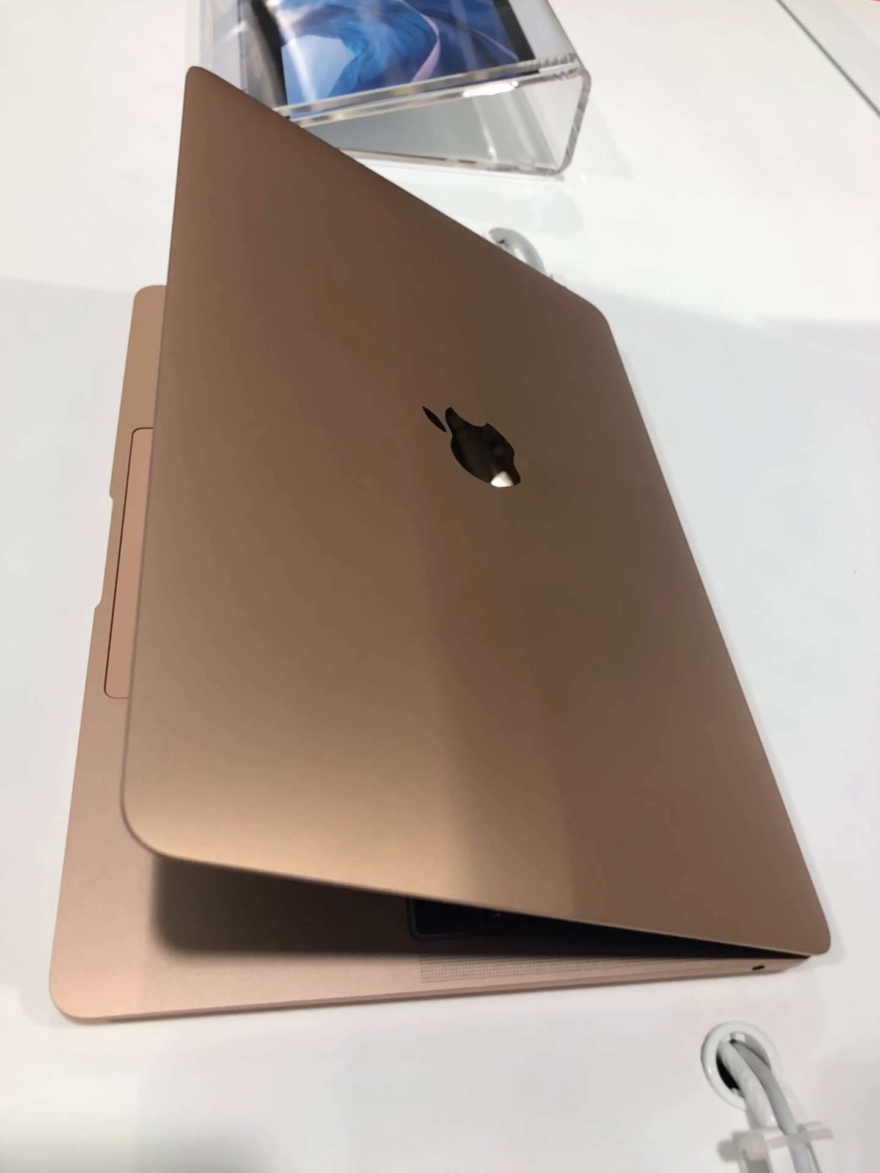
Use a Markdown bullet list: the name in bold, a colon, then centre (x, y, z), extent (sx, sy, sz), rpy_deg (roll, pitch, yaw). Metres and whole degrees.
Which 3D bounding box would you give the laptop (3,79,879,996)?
- **laptop**: centre (0.002, -0.039, 0.314), extent (0.208, 0.091, 0.286), rpy_deg (1, 51, -11)
